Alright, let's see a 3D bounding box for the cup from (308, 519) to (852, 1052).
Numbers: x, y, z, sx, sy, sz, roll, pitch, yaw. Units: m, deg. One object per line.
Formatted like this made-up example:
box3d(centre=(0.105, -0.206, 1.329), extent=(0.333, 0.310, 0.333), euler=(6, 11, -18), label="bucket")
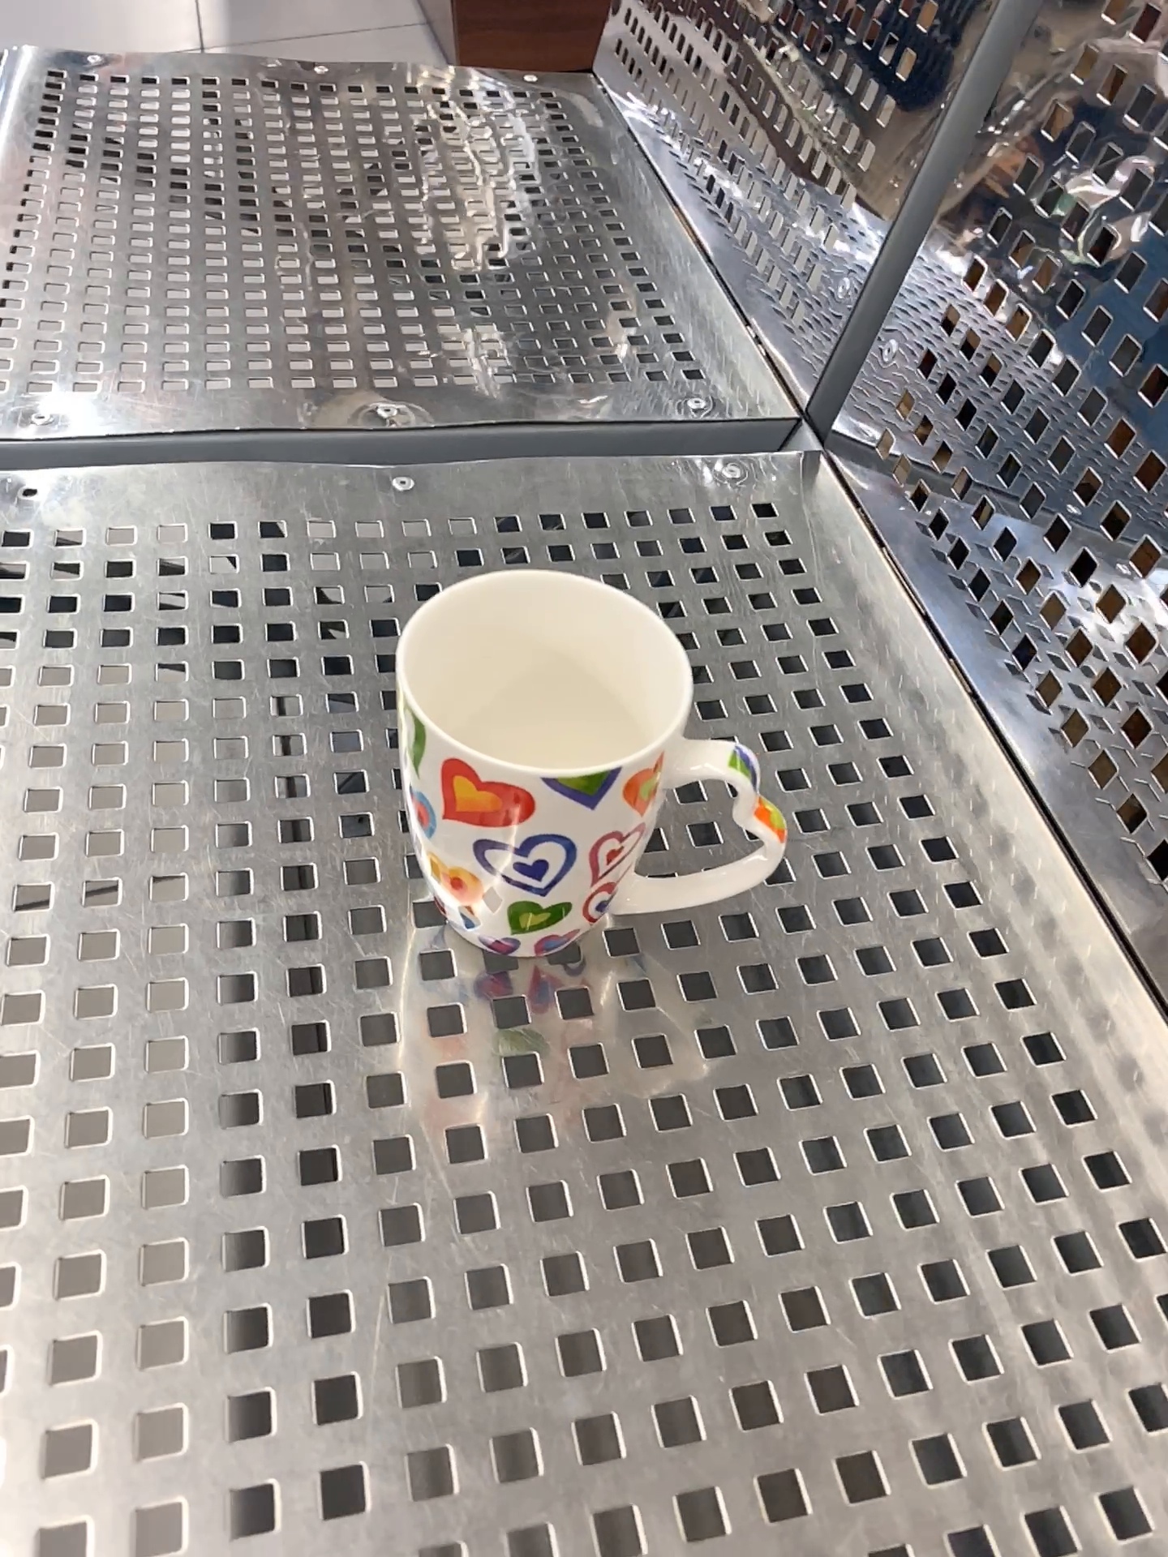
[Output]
box3d(centre=(-0.002, 0.004, 0.335), extent=(0.120, 0.100, 0.070), euler=(17, 50, 7), label="cup")
